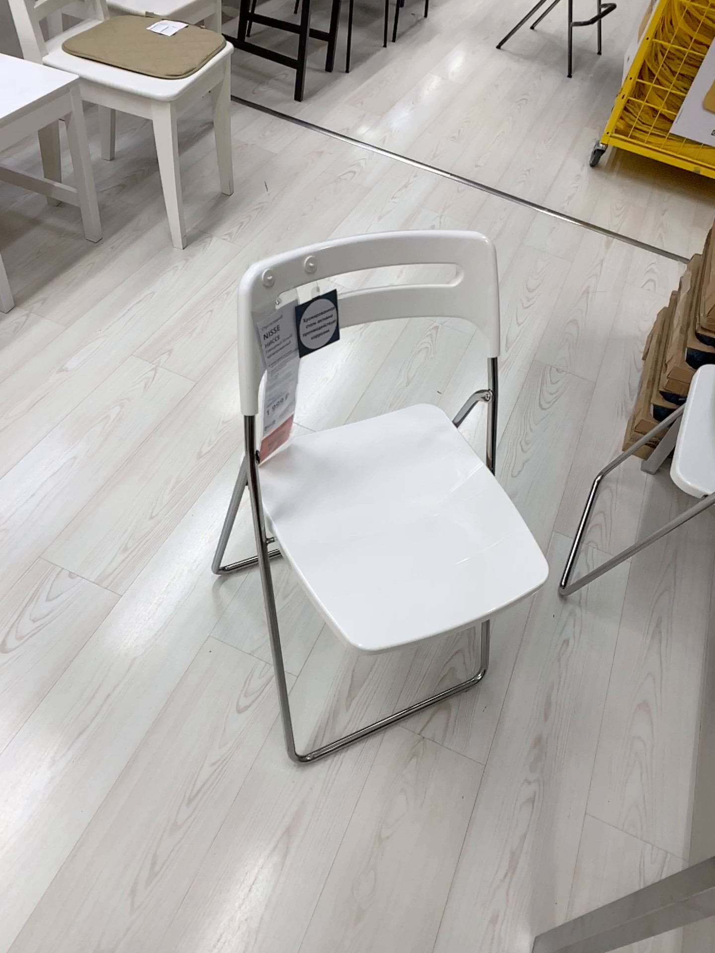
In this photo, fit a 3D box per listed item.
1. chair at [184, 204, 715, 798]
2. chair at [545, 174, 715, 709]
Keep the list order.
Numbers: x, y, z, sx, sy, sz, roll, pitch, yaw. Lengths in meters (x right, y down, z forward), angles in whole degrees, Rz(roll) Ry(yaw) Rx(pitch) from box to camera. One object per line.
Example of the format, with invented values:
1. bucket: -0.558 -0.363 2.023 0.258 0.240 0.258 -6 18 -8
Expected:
1. chair: 0.057 0.050 1.167 0.511 0.717 0.501 -16 55 -24
2. chair: 0.786 -0.045 1.395 0.510 0.727 0.532 23 49 8
